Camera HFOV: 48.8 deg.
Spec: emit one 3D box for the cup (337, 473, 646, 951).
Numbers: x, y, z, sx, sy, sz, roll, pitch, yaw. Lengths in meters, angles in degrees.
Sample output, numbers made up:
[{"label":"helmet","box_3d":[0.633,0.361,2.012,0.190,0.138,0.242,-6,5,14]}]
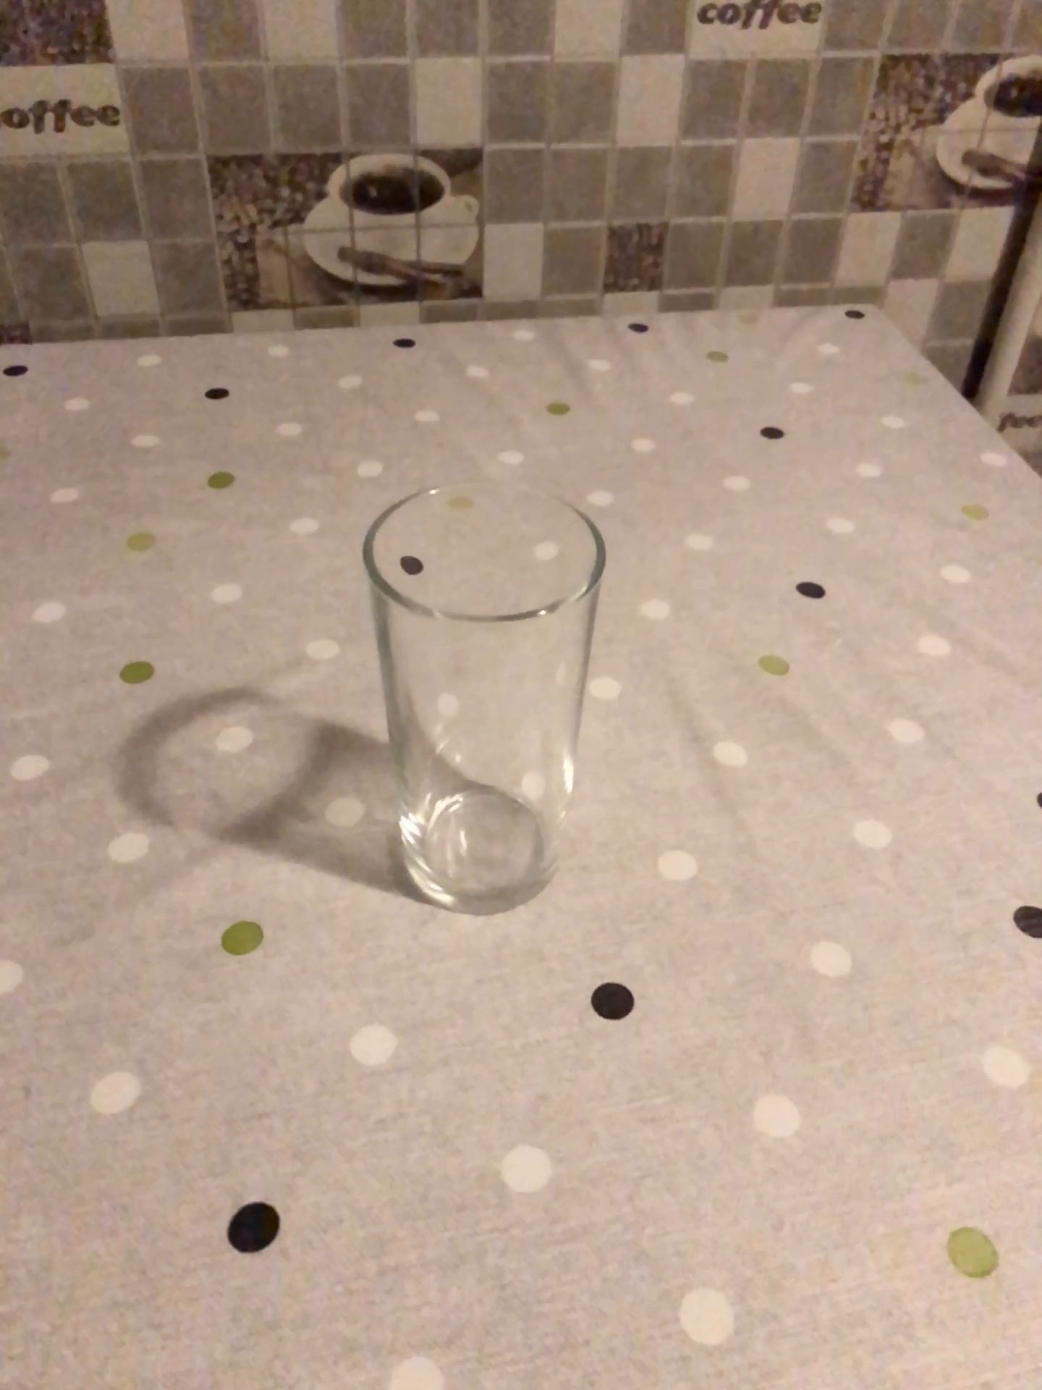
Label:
[{"label":"cup","box_3d":[-0.012,0.007,0.335,0.069,0.117,0.068,1,42,-1]}]
